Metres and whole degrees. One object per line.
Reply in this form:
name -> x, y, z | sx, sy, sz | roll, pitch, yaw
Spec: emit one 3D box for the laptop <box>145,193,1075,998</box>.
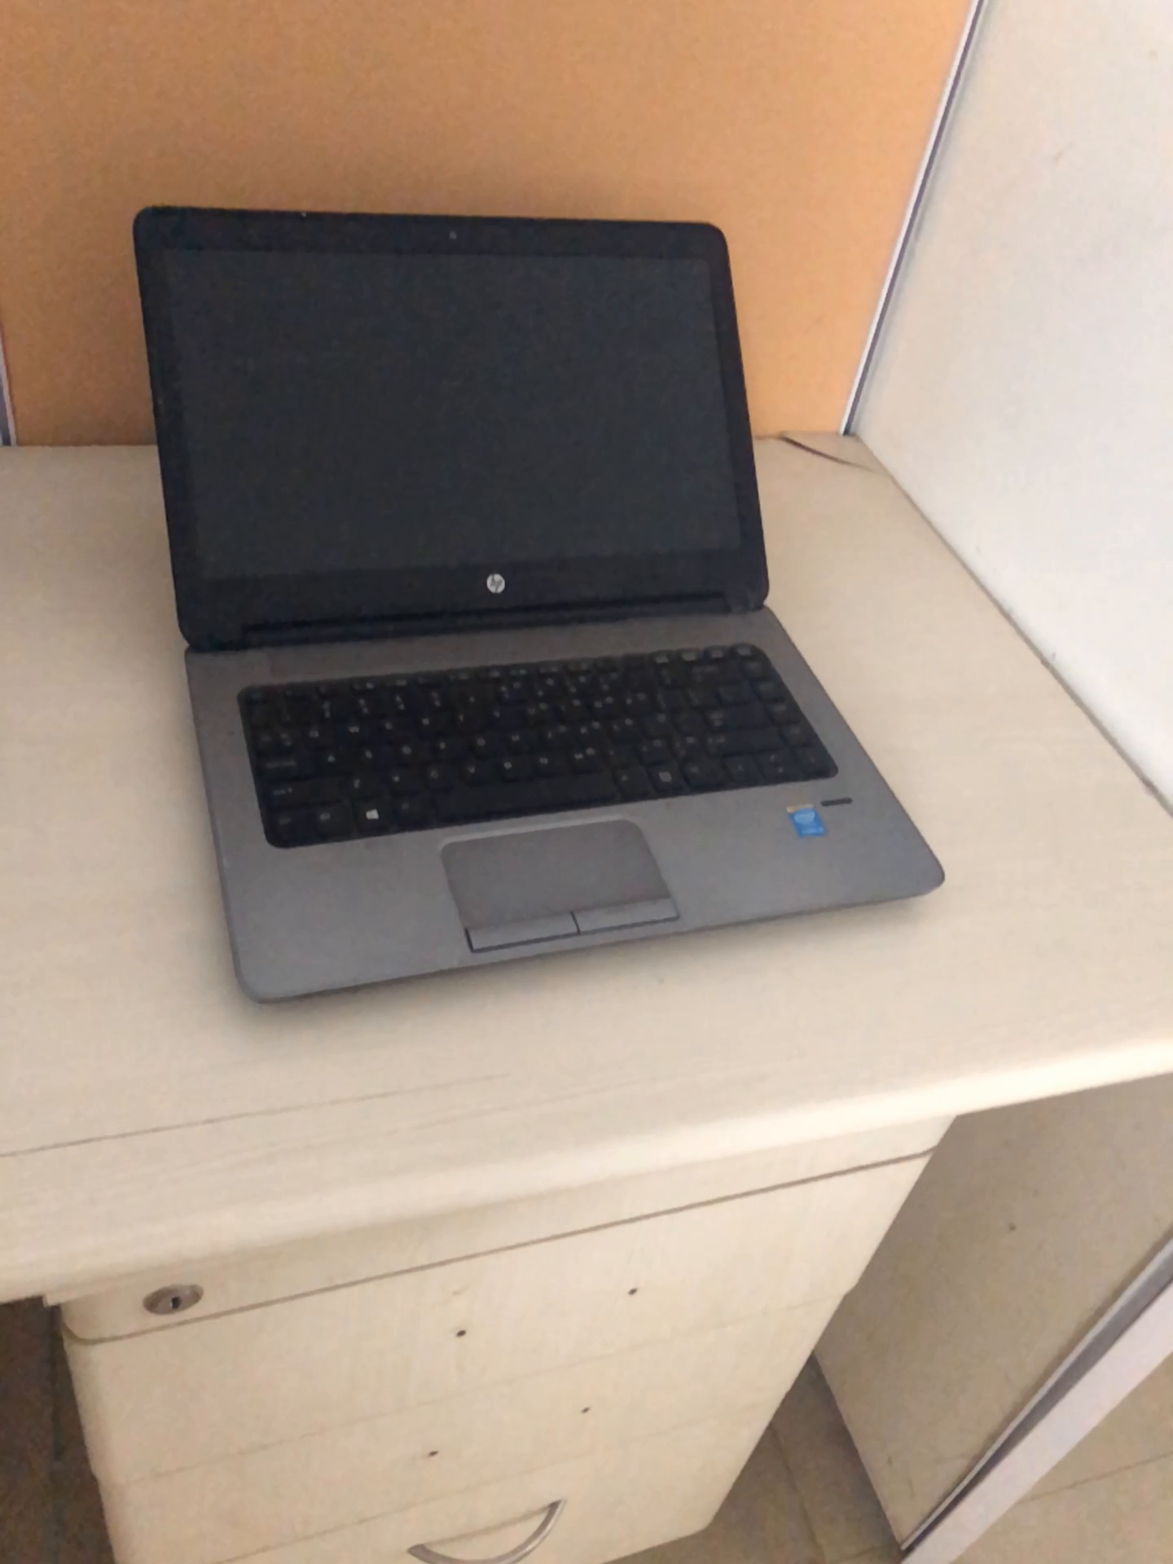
laptop -> -0.025, -0.124, 0.645 | 0.324, 0.166, 0.373 | -7, 47, -20
